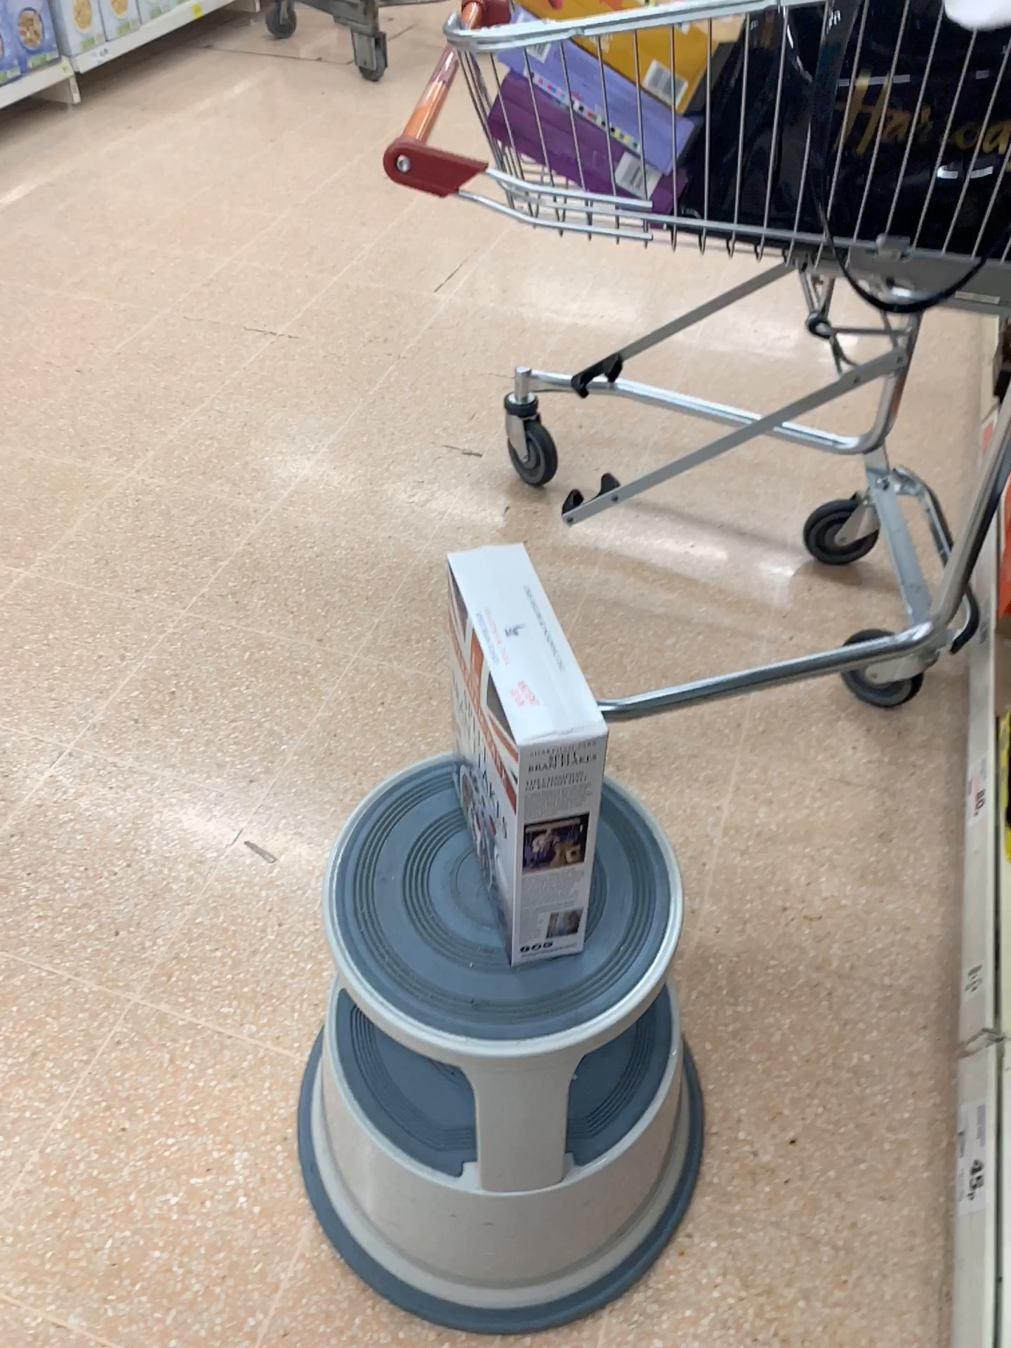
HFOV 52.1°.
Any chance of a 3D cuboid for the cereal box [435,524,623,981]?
[{"bbox_3d":[0.008,0.060,0.749,0.070,0.258,0.202,-10,45,-10],"label":"cereal box"}]
